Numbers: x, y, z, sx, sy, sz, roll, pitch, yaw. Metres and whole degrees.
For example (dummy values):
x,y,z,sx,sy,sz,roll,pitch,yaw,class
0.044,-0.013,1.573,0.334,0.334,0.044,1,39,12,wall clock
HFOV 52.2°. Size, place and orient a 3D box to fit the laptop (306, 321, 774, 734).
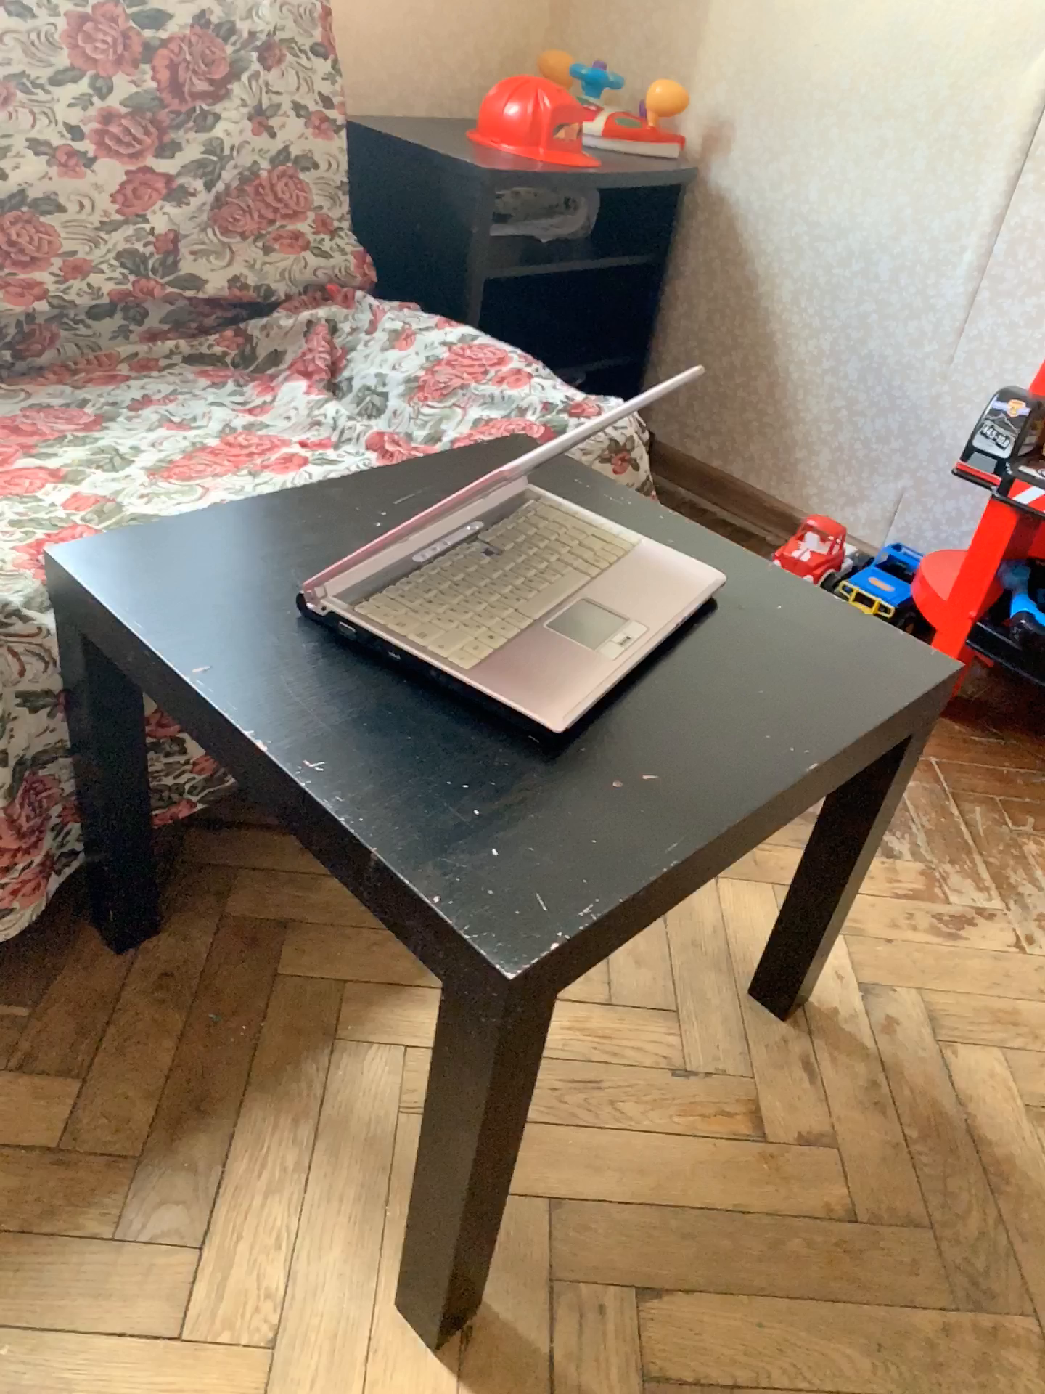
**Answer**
x,y,z,sx,sy,sz,roll,pitch,yaw,class
0.021,-0.154,0.836,0.225,0.156,0.307,26,38,20,laptop
